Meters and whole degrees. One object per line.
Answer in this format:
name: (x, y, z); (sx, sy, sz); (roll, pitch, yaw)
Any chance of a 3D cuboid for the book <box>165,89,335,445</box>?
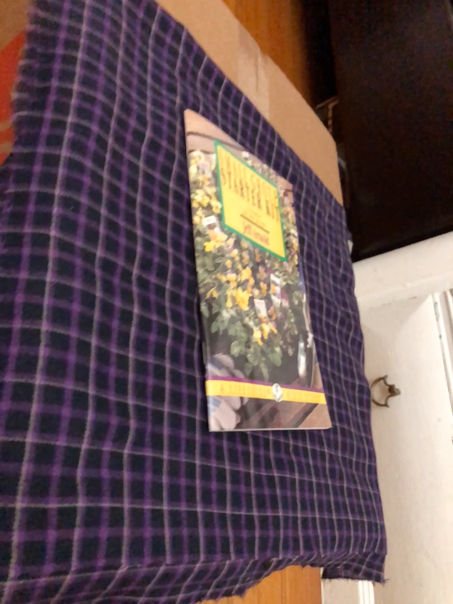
book: (0.020, -0.017, 0.349); (0.151, 0.010, 0.220); (17, 61, -50)
